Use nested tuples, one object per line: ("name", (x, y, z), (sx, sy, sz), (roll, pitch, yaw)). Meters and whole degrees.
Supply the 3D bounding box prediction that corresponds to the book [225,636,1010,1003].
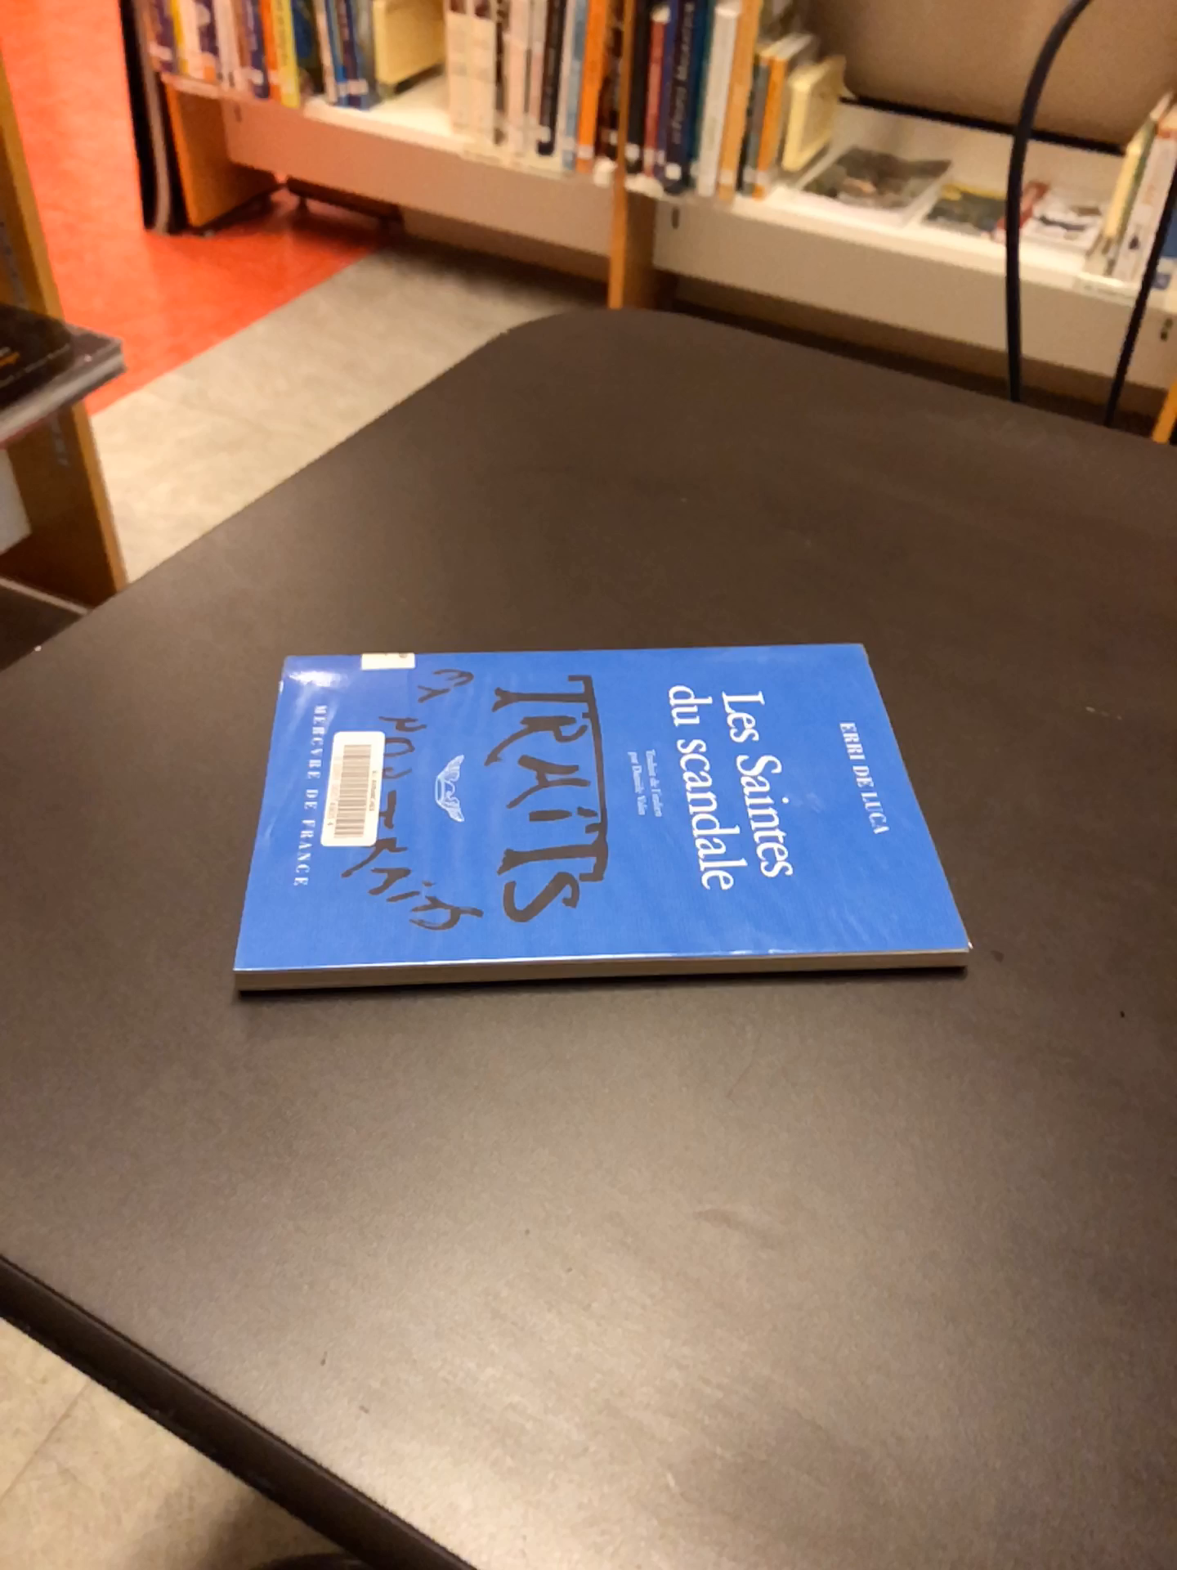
("book", (0.005, 0.003, 0.412), (0.215, 0.017, 0.145), (-1, 43, -5))
